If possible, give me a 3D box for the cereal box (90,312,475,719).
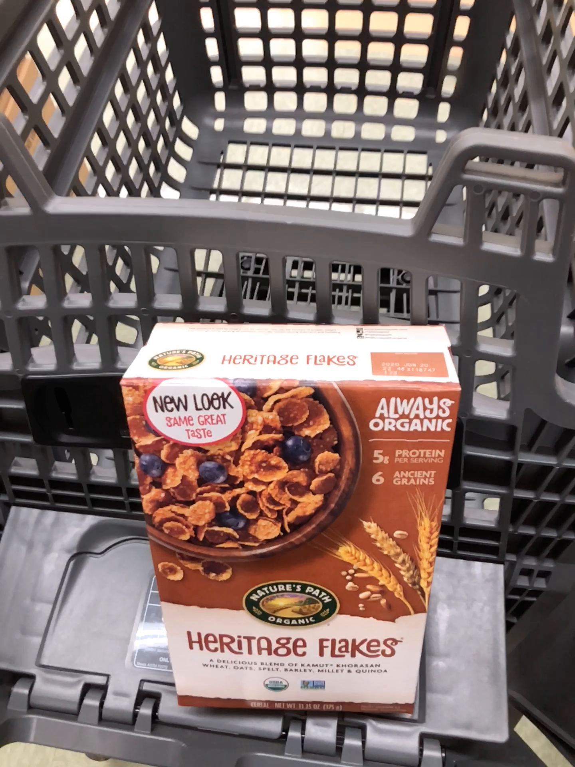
[{"bbox_3d":[0.001,0.086,0.365,0.170,0.250,0.060,0,30,4],"label":"cereal box"}]
